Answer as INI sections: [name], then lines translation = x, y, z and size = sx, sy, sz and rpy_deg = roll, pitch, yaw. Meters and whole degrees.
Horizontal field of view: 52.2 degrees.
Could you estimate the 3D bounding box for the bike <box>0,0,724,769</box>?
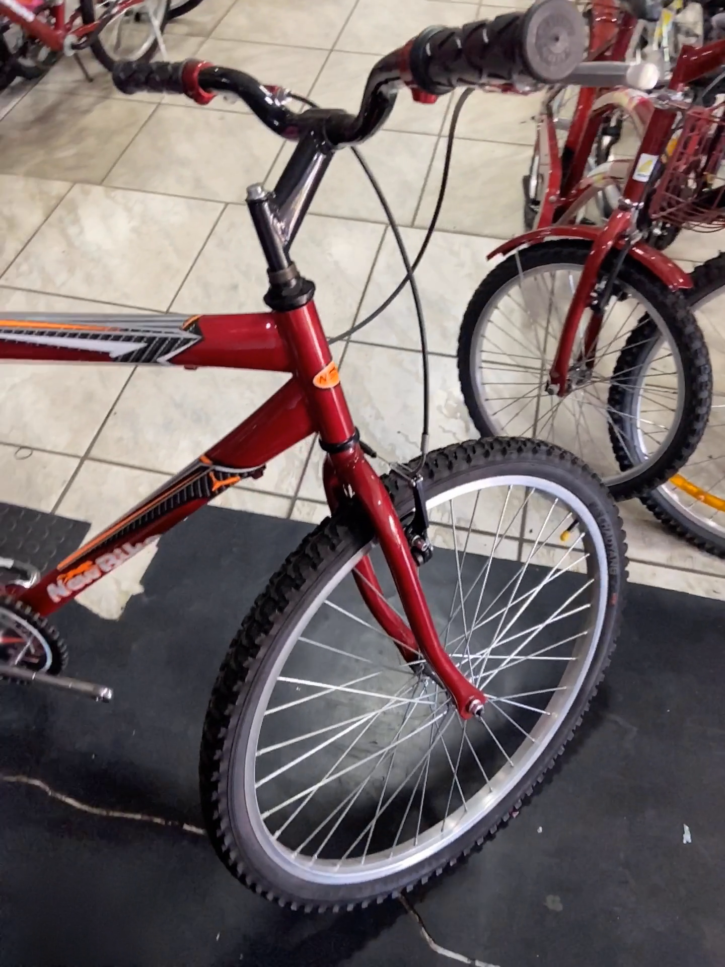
[bike]
translation = -0.456, -0.126, 0.869
size = 1.582, 1.029, 0.568
rpy_deg = 0, 54, 5
